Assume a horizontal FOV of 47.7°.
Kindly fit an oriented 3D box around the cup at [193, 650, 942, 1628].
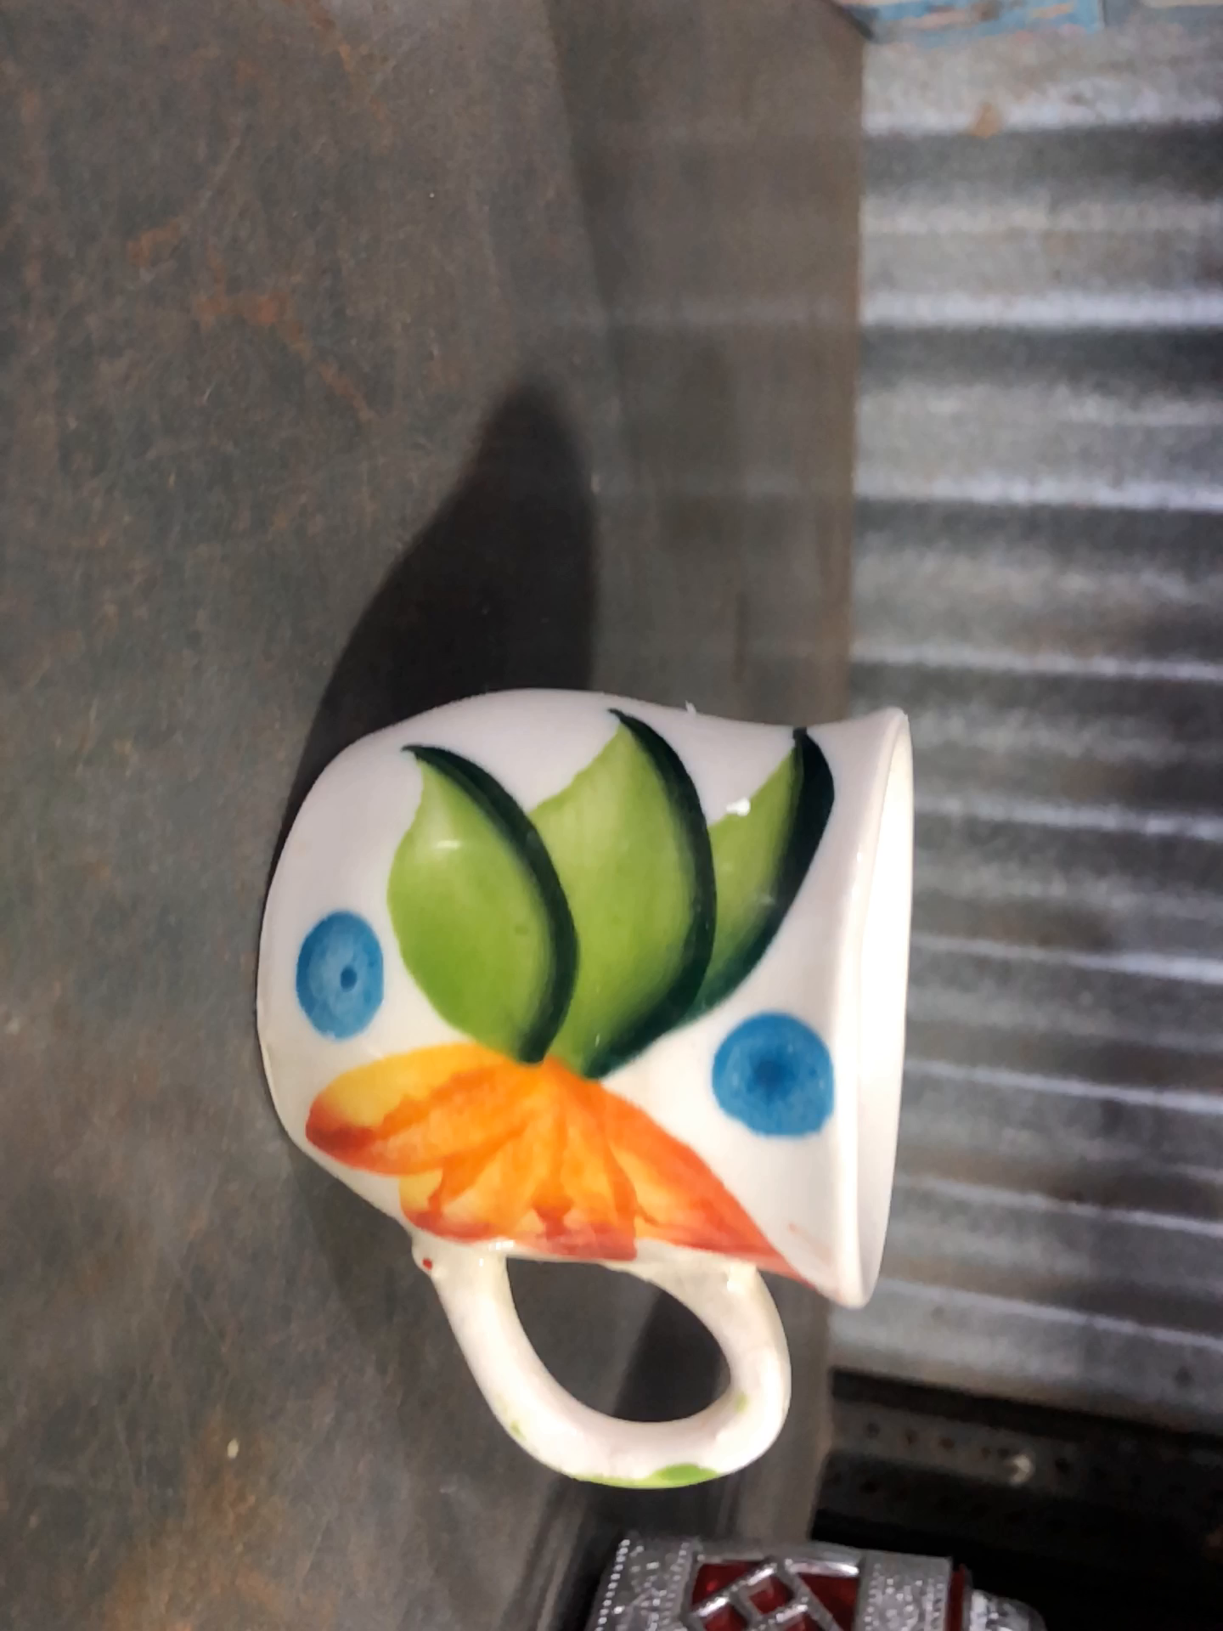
[{"bbox_3d":[0.001,0.030,0.173,0.070,0.070,0.090,-1,95,-75],"label":"cup"}]
